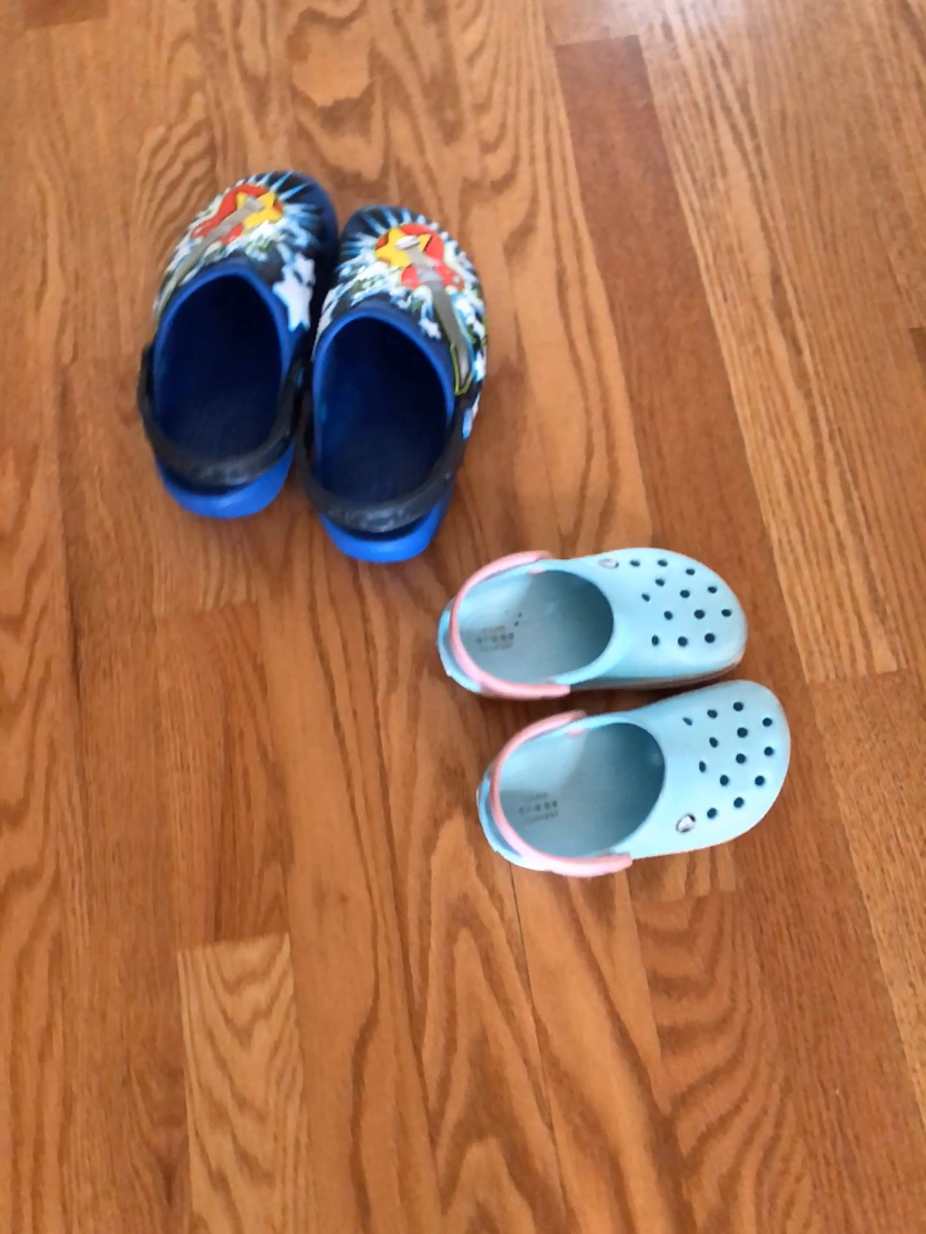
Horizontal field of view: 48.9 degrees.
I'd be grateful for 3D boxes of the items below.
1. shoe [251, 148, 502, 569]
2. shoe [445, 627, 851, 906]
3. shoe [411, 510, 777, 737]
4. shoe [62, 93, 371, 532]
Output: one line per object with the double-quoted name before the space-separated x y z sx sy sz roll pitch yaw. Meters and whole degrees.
"shoe" -0.040 -0.145 0.567 0.110 0.070 0.220 4 72 3
"shoe" 0.086 0.074 0.502 0.170 0.050 0.090 -14 72 -2
"shoe" 0.063 0.004 0.528 0.170 0.050 0.090 -6 71 0
"shoe" -0.129 -0.173 0.574 0.110 0.070 0.230 7 72 4
